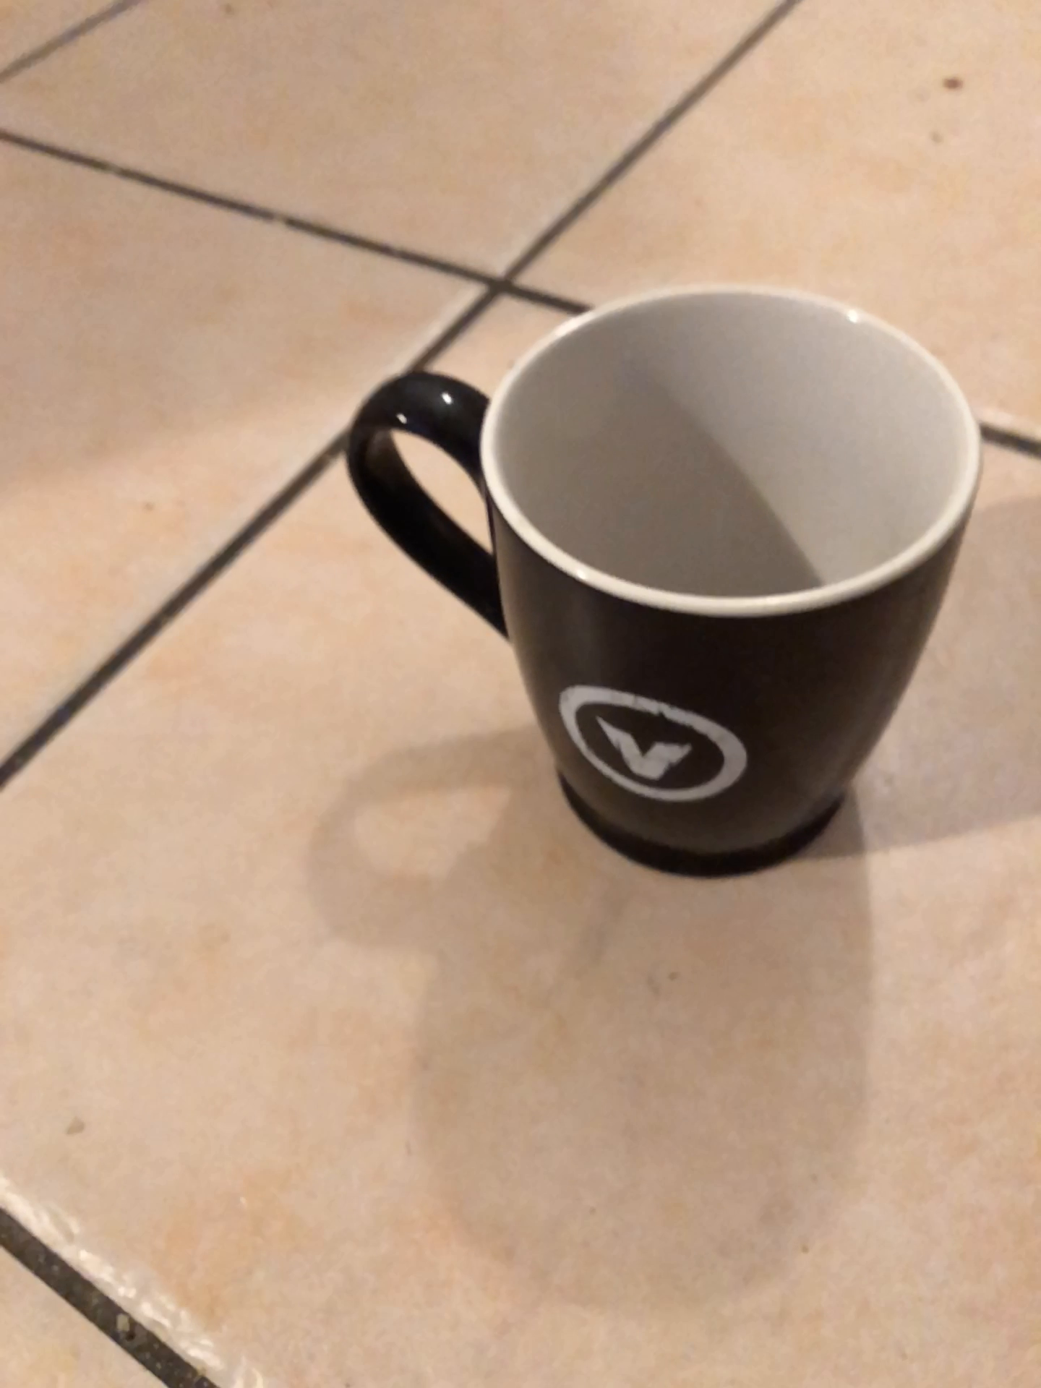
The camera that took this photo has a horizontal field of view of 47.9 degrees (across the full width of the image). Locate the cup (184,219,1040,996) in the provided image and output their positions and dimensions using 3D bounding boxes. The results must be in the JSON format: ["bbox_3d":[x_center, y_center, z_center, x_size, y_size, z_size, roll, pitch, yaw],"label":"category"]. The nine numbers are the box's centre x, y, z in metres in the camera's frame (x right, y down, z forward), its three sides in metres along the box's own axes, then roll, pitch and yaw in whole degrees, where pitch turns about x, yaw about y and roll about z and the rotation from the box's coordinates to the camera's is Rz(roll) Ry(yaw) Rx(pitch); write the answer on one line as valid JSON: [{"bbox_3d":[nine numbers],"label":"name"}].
[{"bbox_3d":[0.024,-0.023,0.267,0.140,0.101,0.100,20,57,20],"label":"cup"}]
